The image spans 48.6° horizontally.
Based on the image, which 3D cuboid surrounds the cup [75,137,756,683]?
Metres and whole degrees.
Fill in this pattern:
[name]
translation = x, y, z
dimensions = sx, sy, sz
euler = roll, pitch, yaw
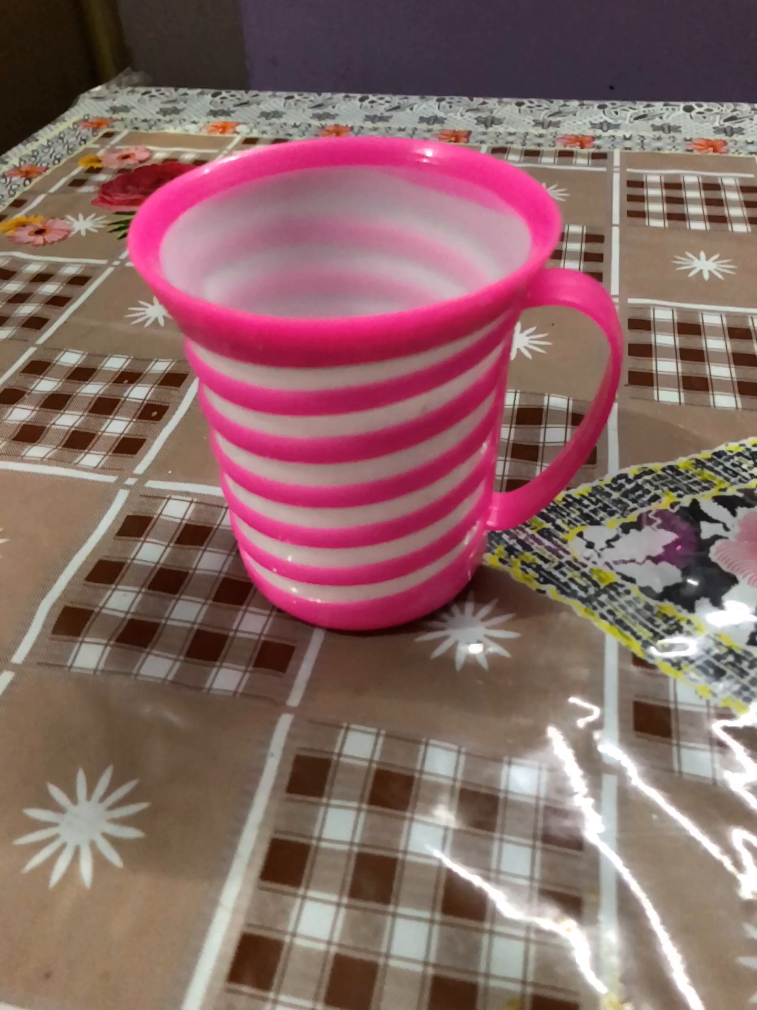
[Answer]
[cup]
translation = 0.009, -0.021, 0.189
dimensions = 0.110, 0.089, 0.081
euler = -1, 41, 1
